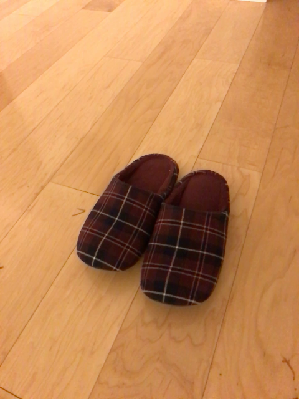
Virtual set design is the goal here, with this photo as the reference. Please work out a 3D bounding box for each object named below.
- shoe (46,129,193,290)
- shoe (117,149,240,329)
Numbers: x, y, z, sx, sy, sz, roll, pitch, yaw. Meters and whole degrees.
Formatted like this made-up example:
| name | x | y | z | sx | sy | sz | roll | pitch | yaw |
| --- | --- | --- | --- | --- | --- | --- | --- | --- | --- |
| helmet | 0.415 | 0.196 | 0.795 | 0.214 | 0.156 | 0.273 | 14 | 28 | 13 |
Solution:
| name | x | y | z | sx | sy | sz | roll | pitch | yaw |
| --- | --- | --- | --- | --- | --- | --- | --- | --- | --- |
| shoe | -0.031 | -0.002 | 0.517 | 0.120 | 0.050 | 0.262 | 16 | 53 | 18 |
| shoe | 0.057 | 0.039 | 0.493 | 0.120 | 0.050 | 0.272 | 10 | 52 | 14 |
